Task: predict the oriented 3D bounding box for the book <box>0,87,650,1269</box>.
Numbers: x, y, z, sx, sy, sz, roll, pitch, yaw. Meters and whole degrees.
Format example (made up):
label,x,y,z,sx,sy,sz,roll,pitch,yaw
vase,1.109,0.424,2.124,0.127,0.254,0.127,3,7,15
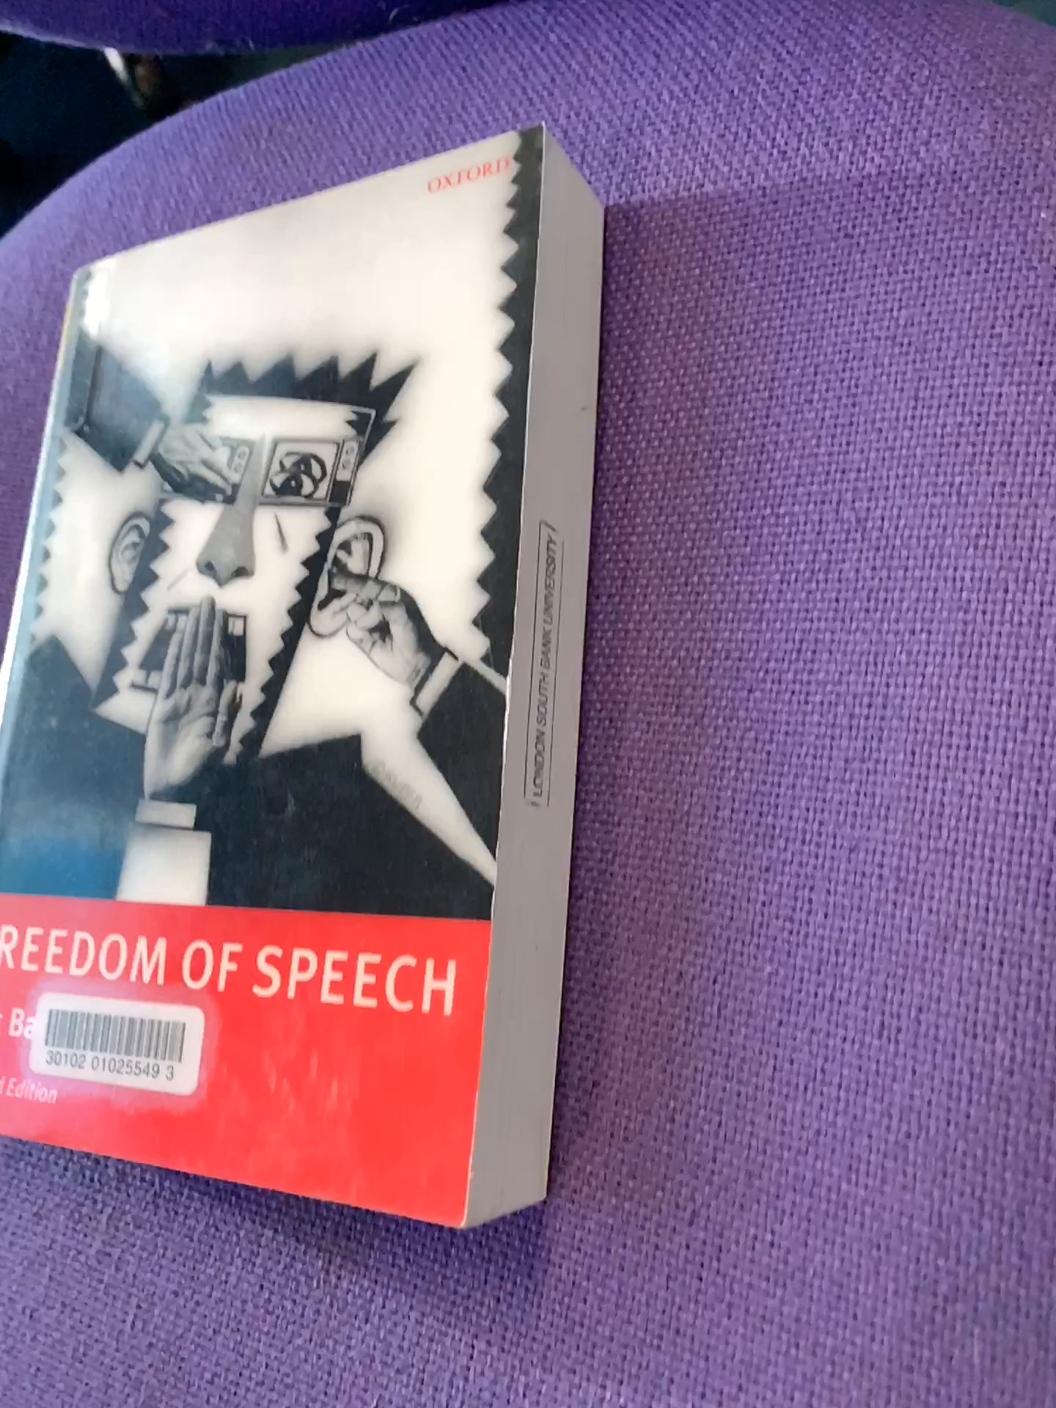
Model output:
label,x,y,z,sx,sy,sz,roll,pitch,yaw
book,-0.059,-0.013,0.279,0.161,0.050,0.251,-2,74,24
